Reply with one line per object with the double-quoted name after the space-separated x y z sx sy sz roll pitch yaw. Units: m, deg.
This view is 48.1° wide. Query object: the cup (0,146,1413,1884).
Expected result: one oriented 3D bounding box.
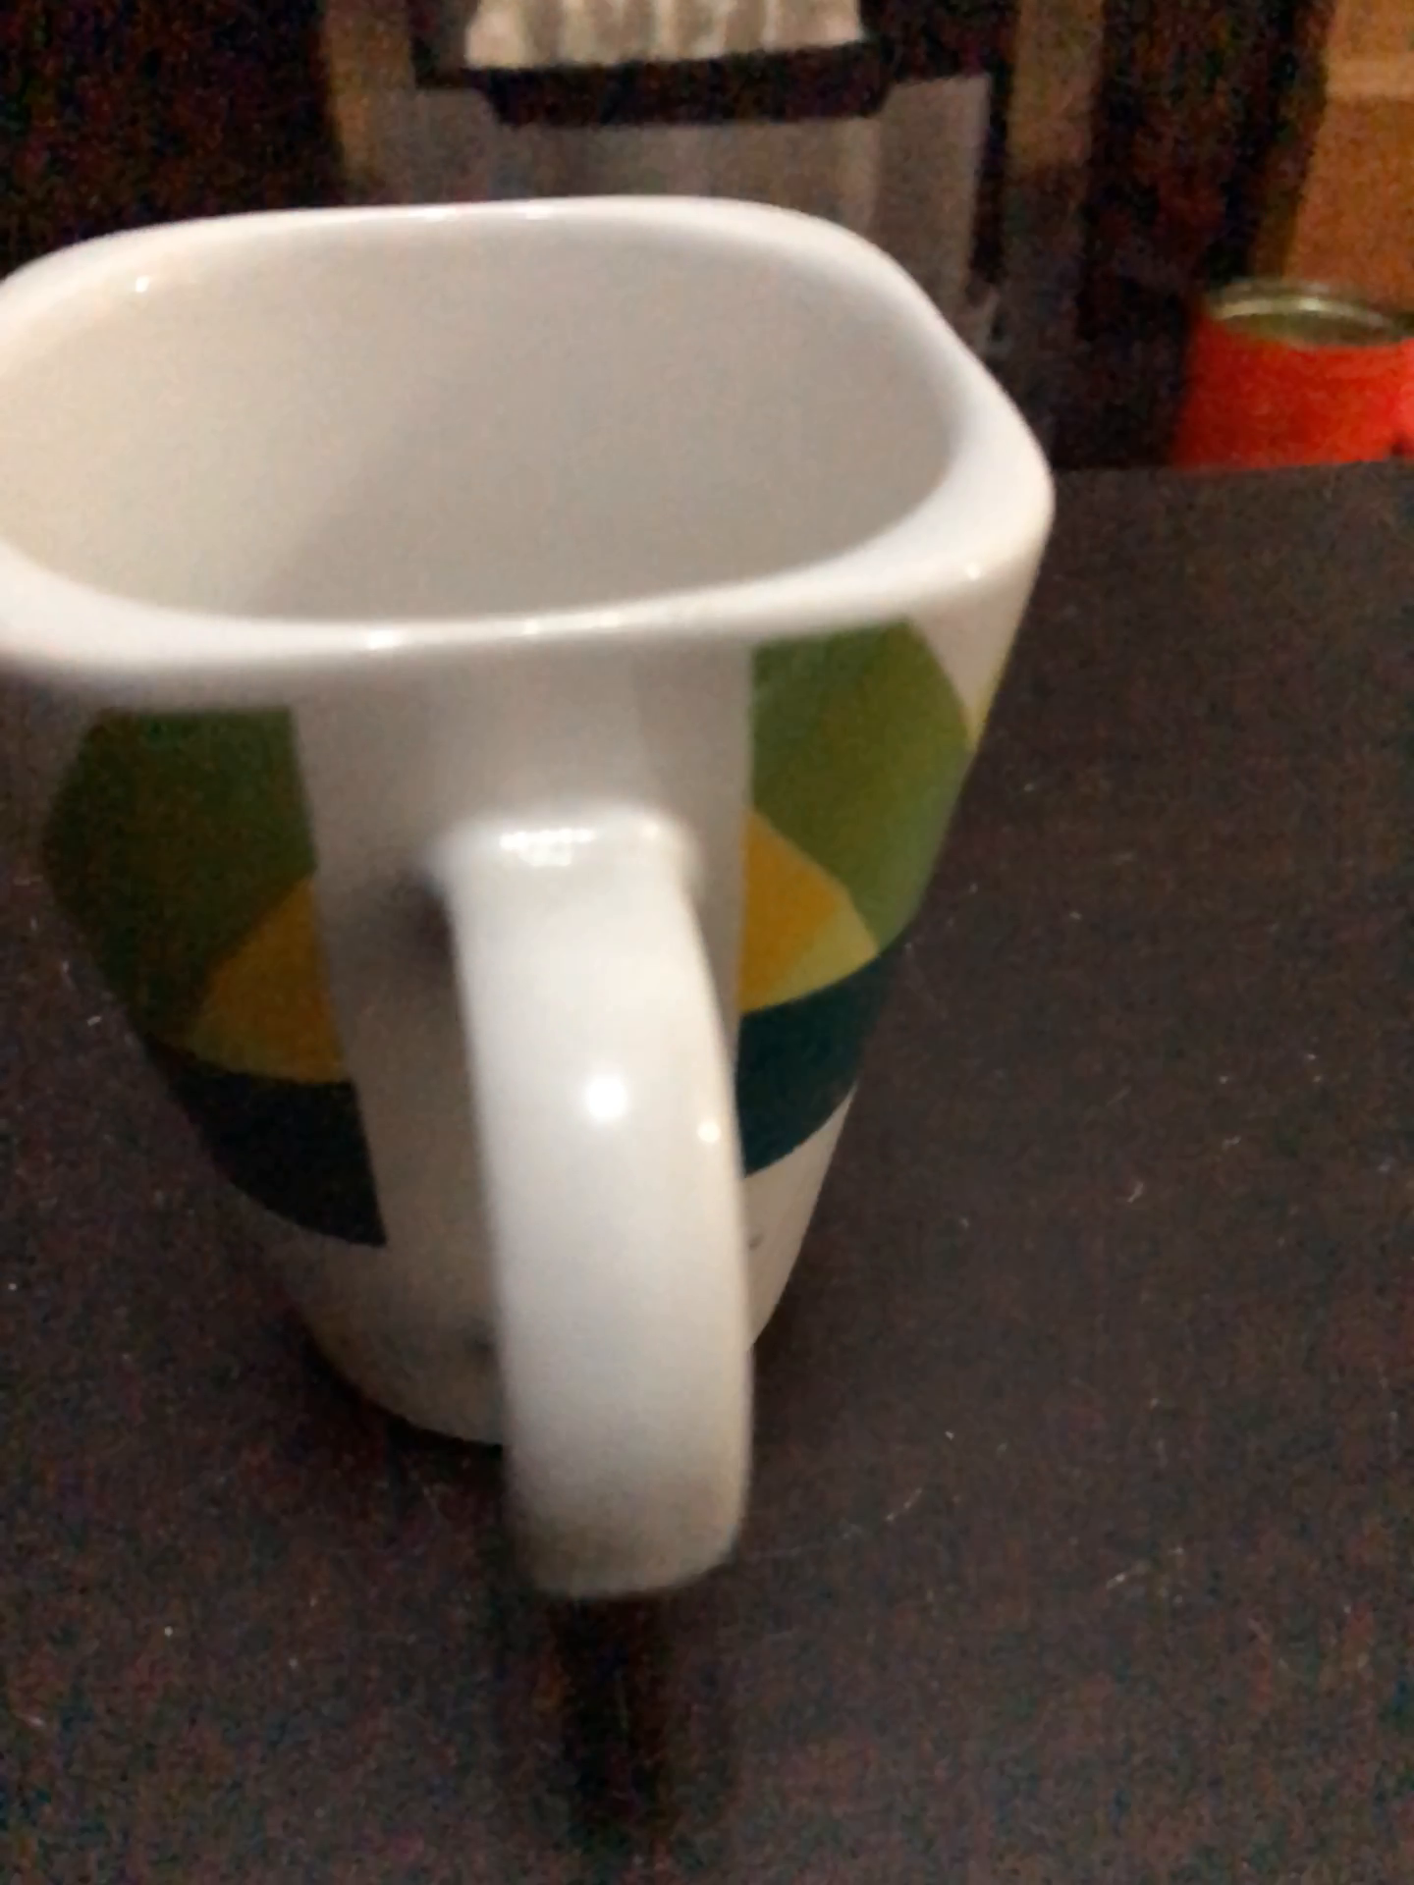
-0.010 -0.001 0.132 0.080 0.089 0.111 -8 42 -11 "cup"
